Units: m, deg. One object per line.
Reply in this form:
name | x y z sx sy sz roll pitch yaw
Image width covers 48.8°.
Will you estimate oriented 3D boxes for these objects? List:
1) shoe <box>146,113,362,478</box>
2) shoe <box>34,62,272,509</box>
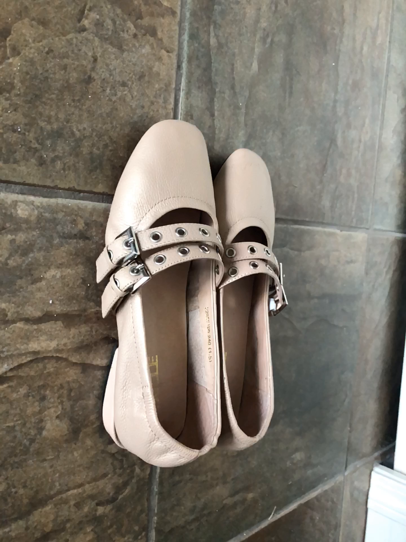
shoe | 0.042 0.018 0.364 0.090 0.090 0.250 14 87 -43
shoe | -0.036 0.009 0.315 0.100 0.090 0.250 7 92 -43
